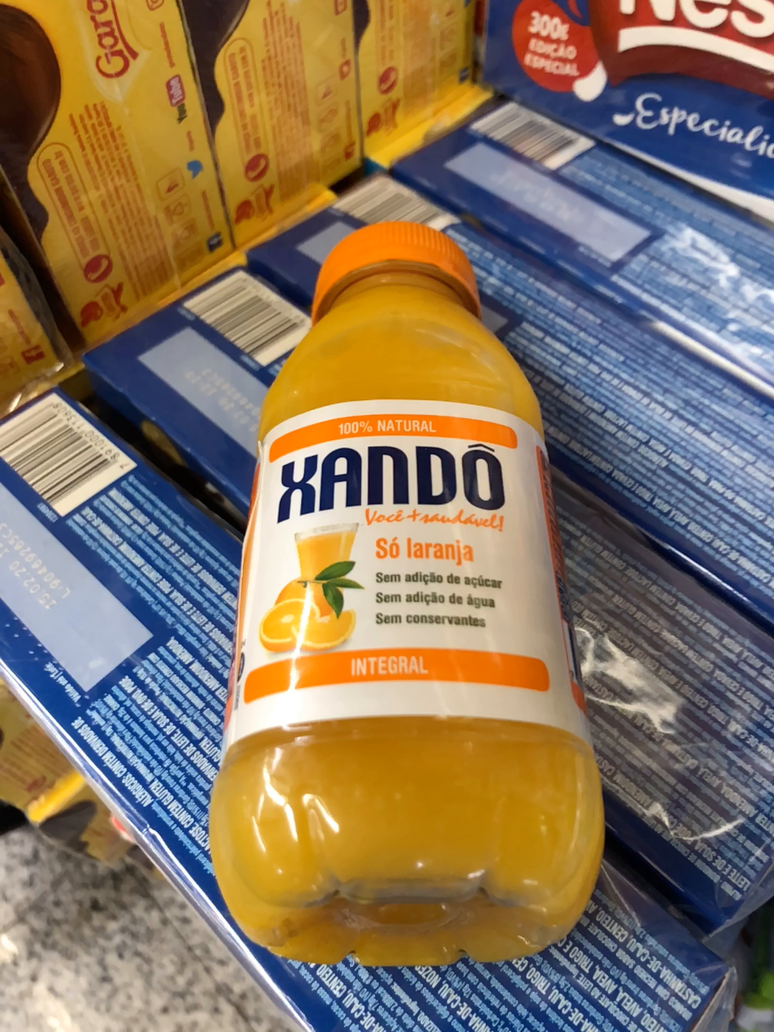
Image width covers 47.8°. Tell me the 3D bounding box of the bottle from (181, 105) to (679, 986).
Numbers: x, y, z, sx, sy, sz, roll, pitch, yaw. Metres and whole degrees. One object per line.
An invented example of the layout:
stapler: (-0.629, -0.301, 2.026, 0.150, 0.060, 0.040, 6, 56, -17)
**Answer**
bottle: (0.004, -0.001, 0.186, 0.060, 0.080, 0.171, -1, 56, 0)
